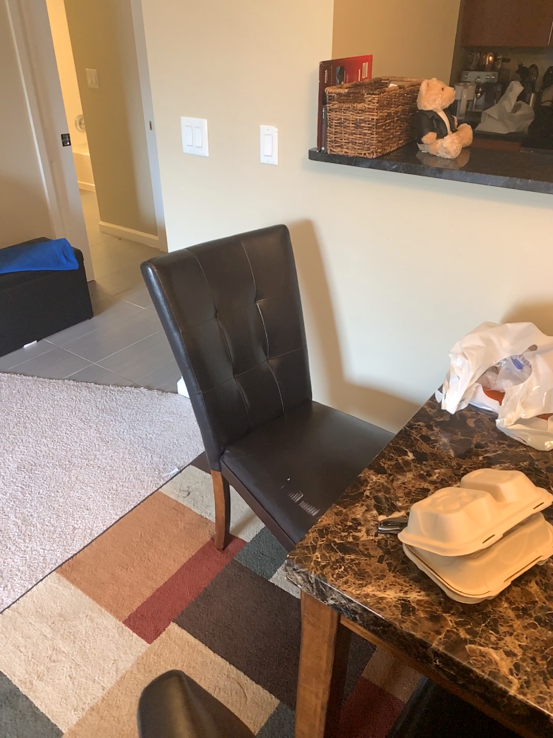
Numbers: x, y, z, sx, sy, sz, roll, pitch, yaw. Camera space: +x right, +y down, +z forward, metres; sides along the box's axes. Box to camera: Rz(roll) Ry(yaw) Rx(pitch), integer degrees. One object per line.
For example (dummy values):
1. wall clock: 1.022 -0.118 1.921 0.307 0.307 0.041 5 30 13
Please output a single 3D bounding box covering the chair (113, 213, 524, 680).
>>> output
1. chair: 0.122 0.138 1.721 0.733 0.925 0.812 26 40 37
